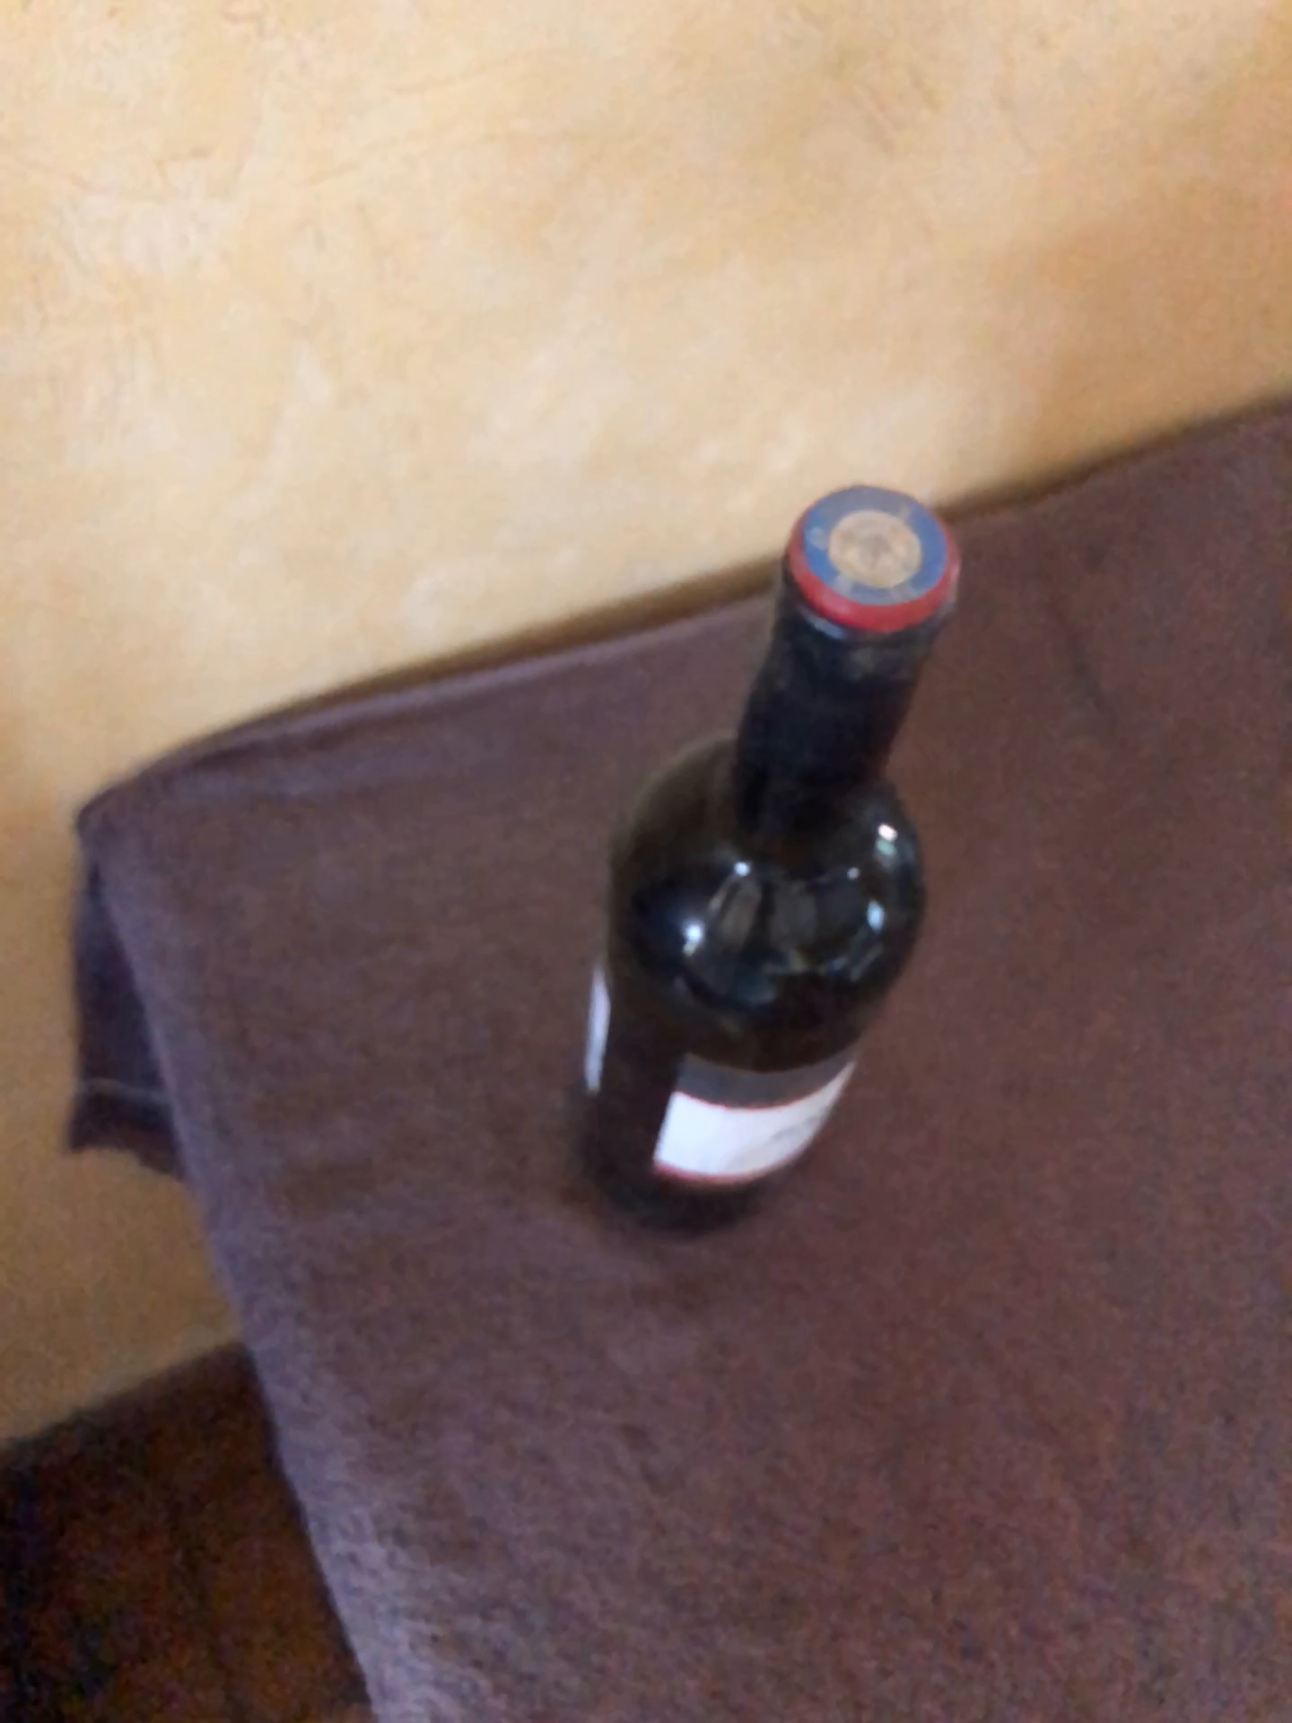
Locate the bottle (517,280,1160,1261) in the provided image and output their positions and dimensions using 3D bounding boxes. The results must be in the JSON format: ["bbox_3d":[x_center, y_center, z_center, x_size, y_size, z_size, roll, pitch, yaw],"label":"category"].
[{"bbox_3d":[0.024,0.012,0.362,0.080,0.289,0.080,2,62,-3],"label":"bottle"}]
